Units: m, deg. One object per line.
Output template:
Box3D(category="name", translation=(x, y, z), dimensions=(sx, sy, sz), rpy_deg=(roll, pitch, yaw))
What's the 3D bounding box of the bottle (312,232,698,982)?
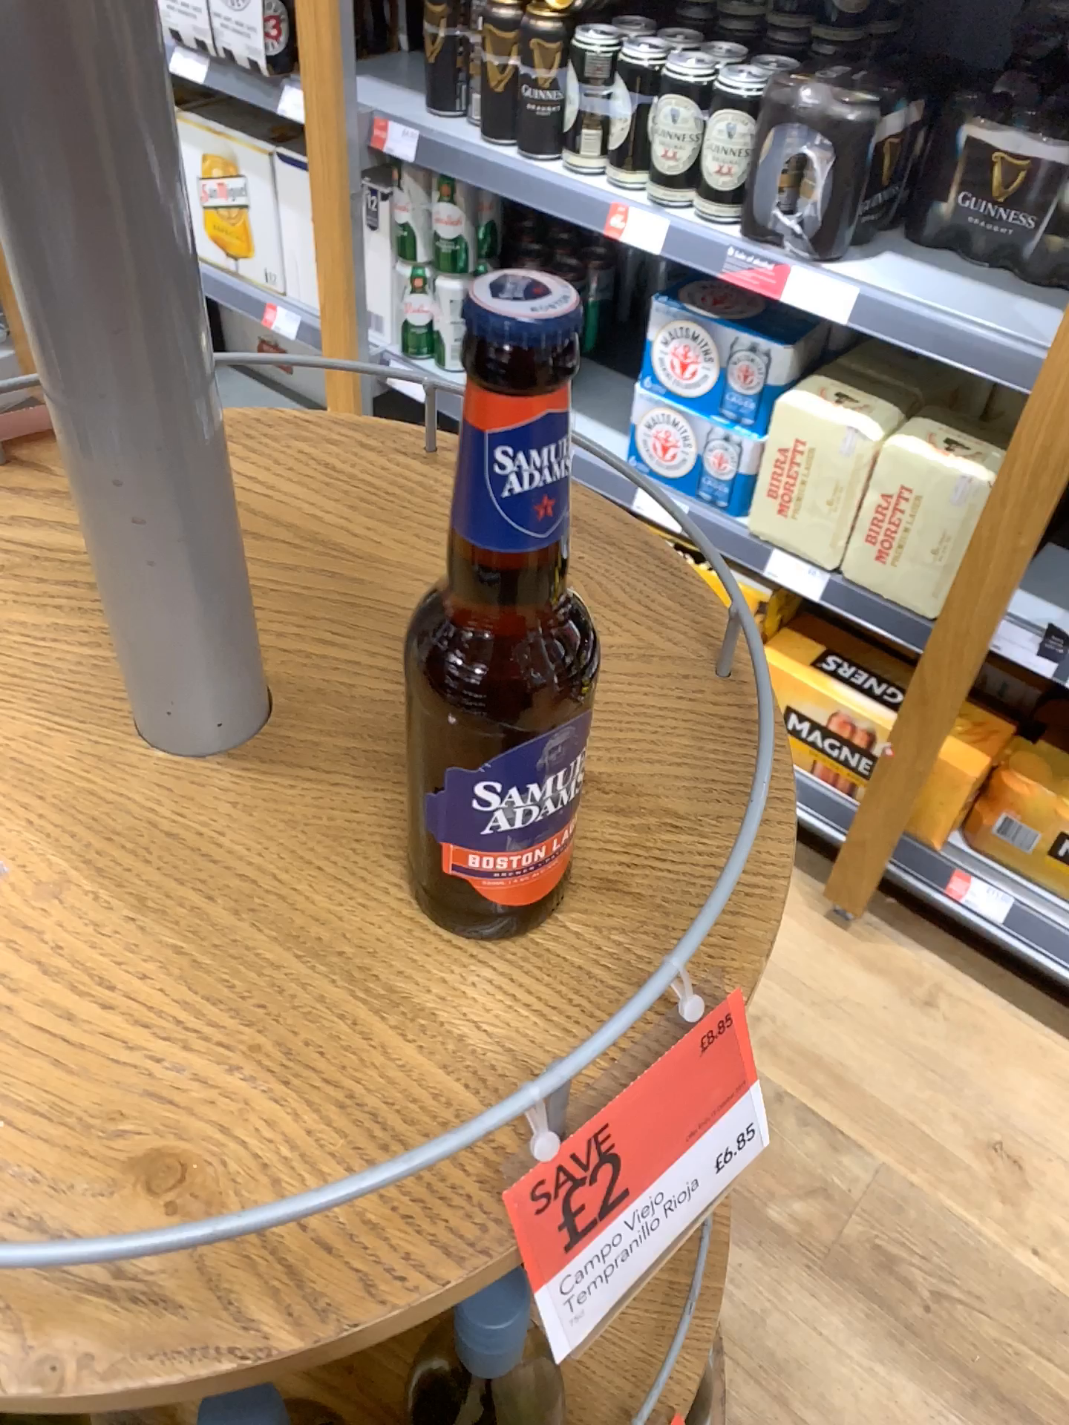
Box3D(category="bottle", translation=(-0.013, -0.016, 0.318), dimensions=(0.063, 0.211, 0.061), rpy_deg=(2, 45, -2))
